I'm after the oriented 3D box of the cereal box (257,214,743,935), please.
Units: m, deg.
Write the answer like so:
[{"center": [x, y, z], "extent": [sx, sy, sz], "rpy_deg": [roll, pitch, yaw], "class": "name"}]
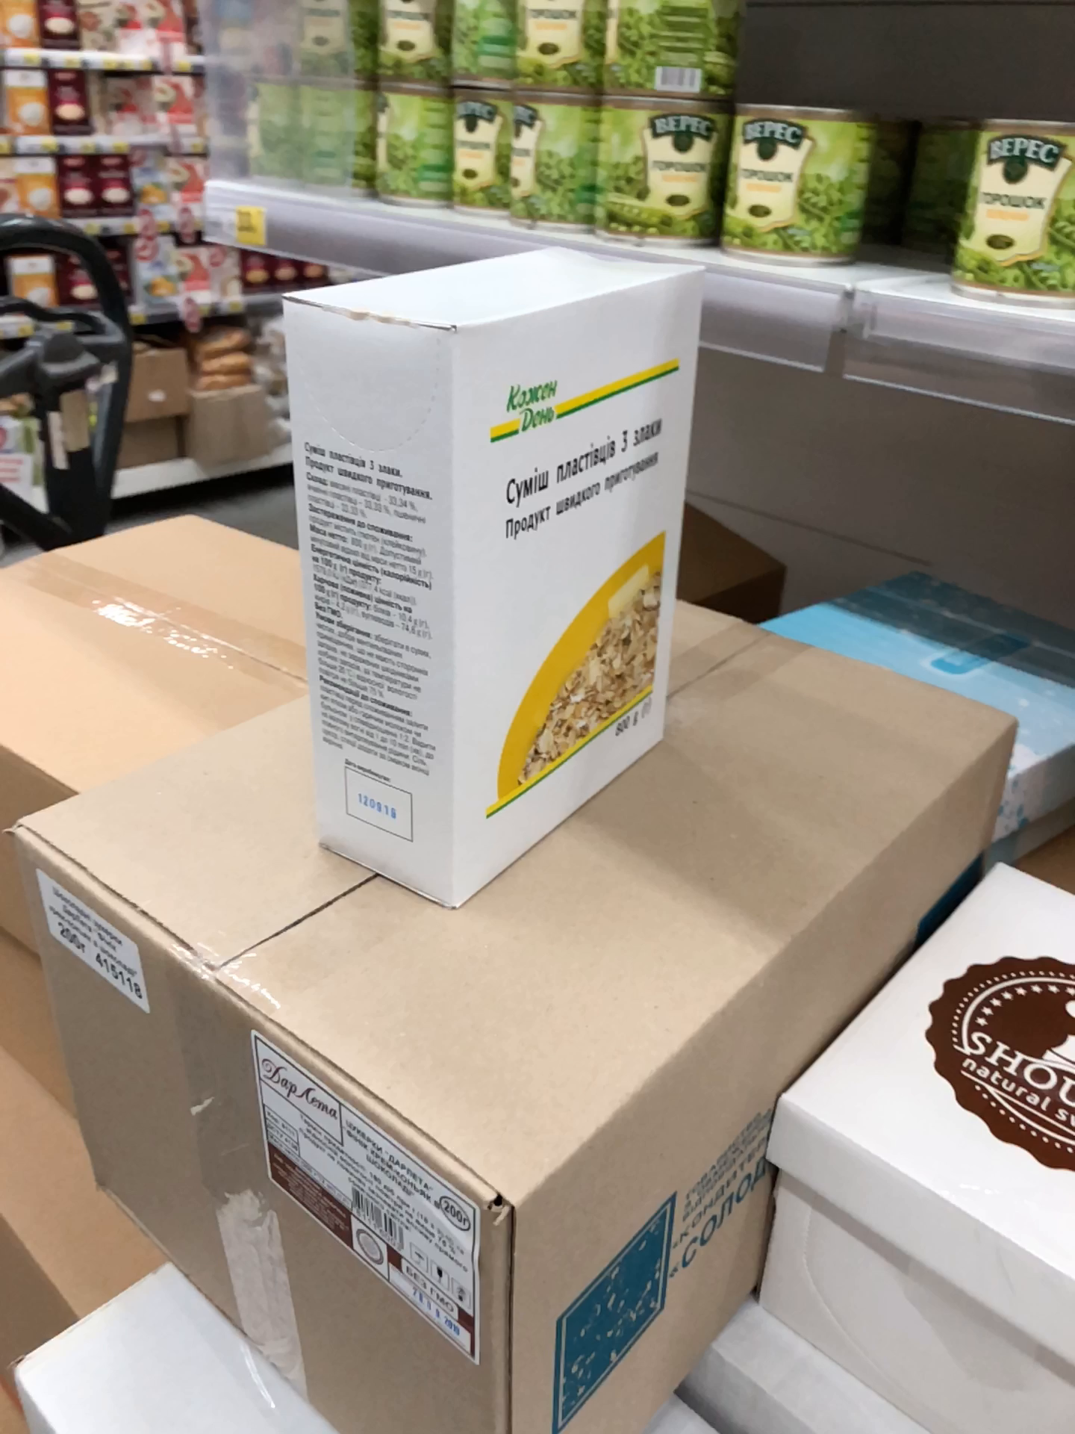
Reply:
[{"center": [-0.005, -0.061, 0.432], "extent": [0.070, 0.209, 0.171], "rpy_deg": [19, 33, 29], "class": "cereal box"}]
